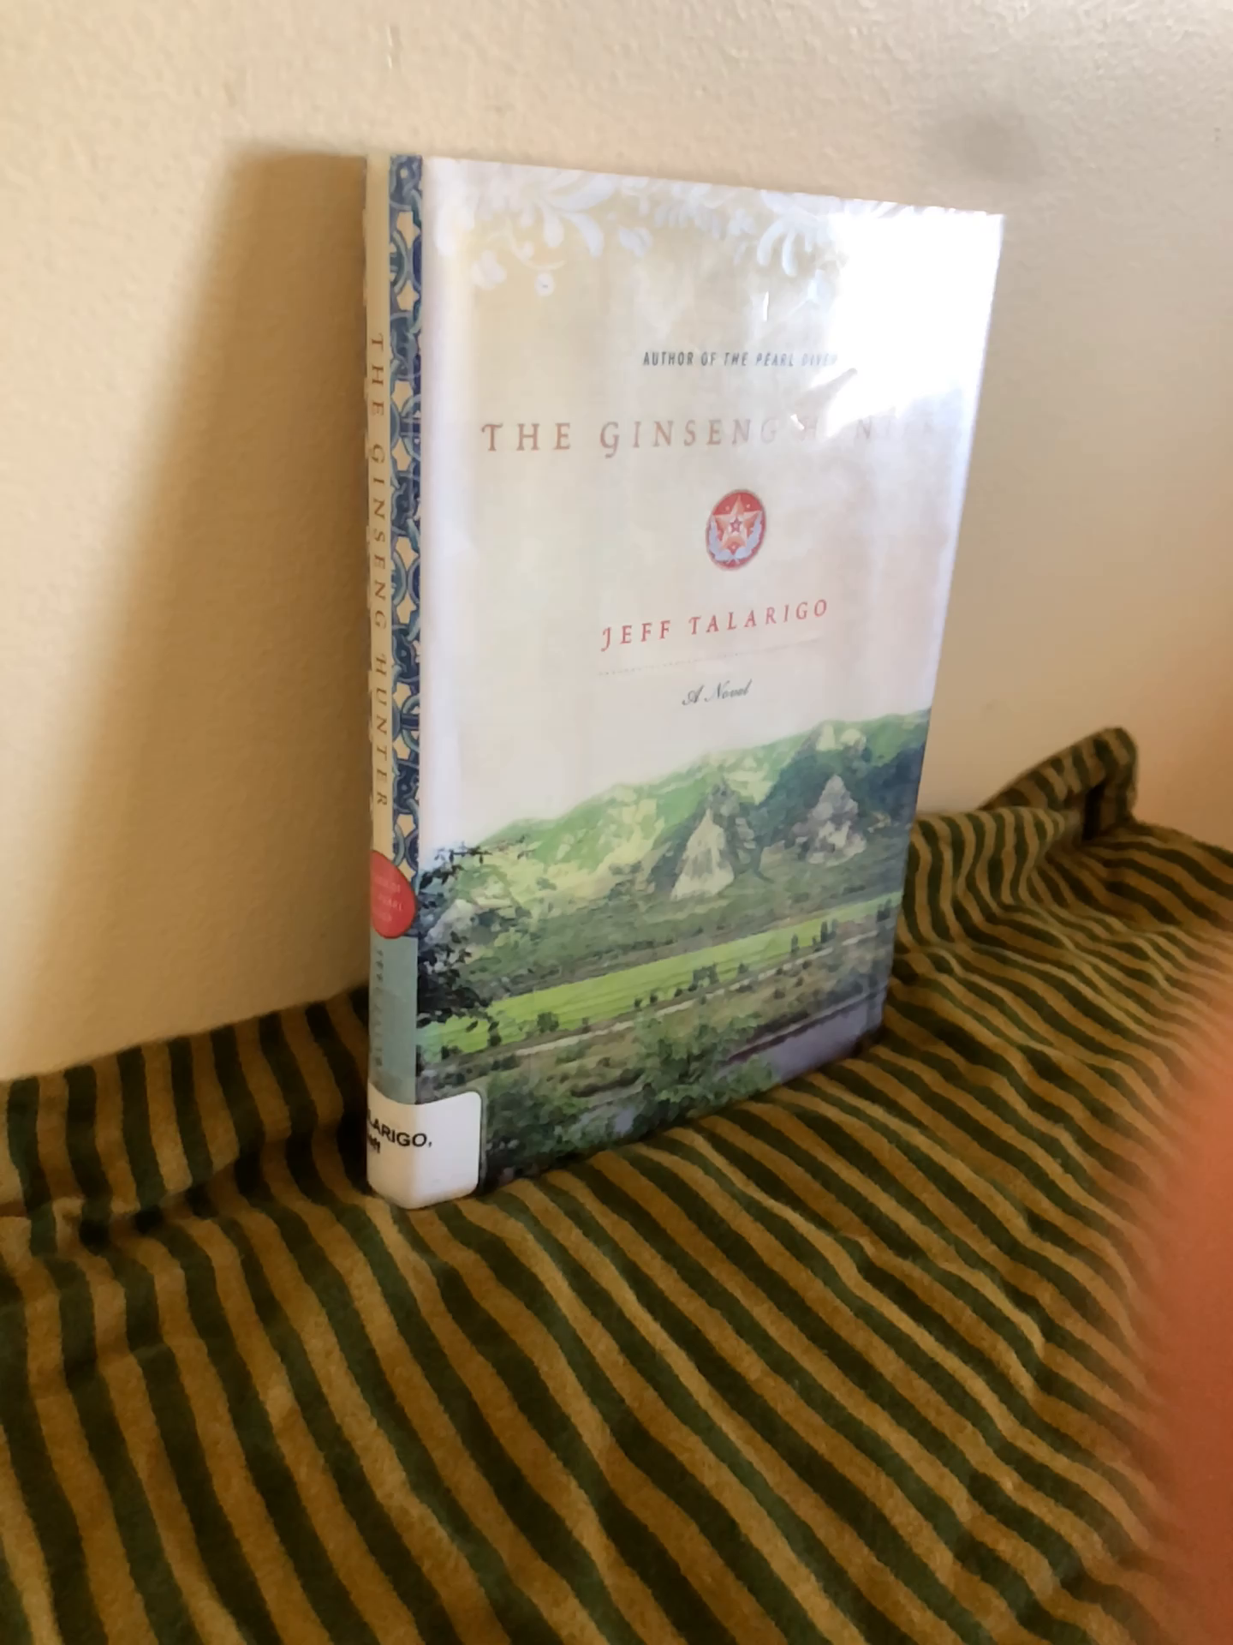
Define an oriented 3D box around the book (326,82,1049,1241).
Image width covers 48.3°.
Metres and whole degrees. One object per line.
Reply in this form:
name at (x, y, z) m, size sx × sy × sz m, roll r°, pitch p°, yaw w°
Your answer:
book at (0.013, -0.027, 0.283) m, size 0.137 × 0.203 × 0.029 m, roll -13°, pitch 31°, yaw -39°
